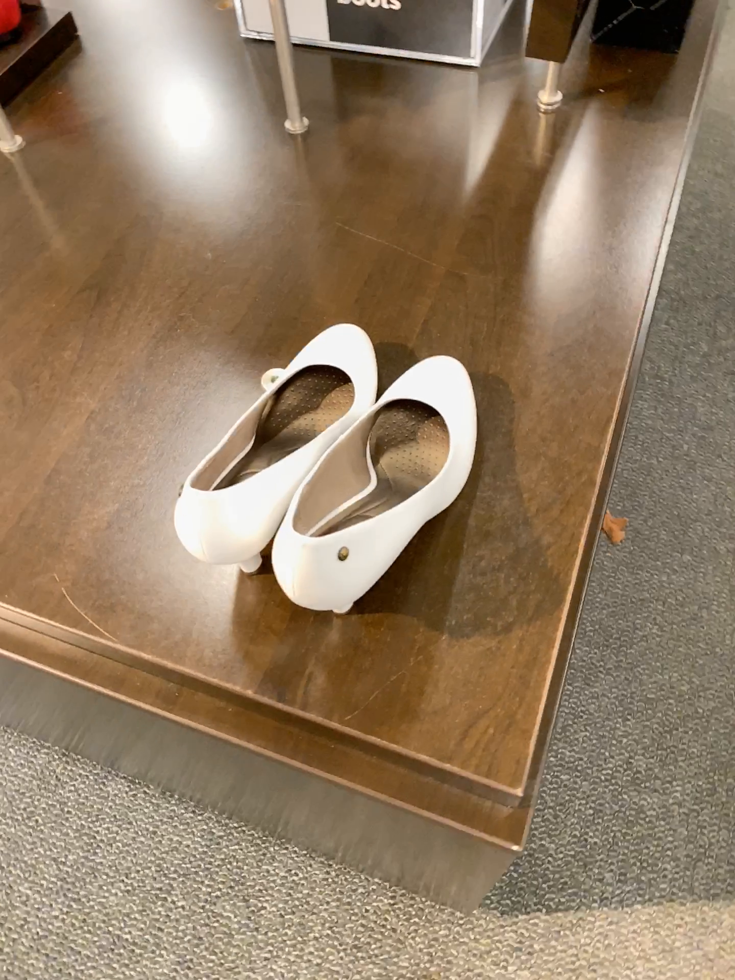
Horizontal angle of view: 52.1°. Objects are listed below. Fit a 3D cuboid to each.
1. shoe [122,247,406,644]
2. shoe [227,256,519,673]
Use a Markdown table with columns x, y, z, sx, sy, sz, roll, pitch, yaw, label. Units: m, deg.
| x | y | z | sx | sy | sz | roll | pitch | yaw | label |
| --- | --- | --- | --- | --- | --- | --- | --- | --- | --- |
| -0.057 | -0.040 | 0.547 | 0.090 | 0.110 | 0.261 | 15 | 60 | 14 | shoe |
| 0.017 | -0.025 | 0.523 | 0.090 | 0.110 | 0.261 | 18 | 61 | 16 | shoe |
